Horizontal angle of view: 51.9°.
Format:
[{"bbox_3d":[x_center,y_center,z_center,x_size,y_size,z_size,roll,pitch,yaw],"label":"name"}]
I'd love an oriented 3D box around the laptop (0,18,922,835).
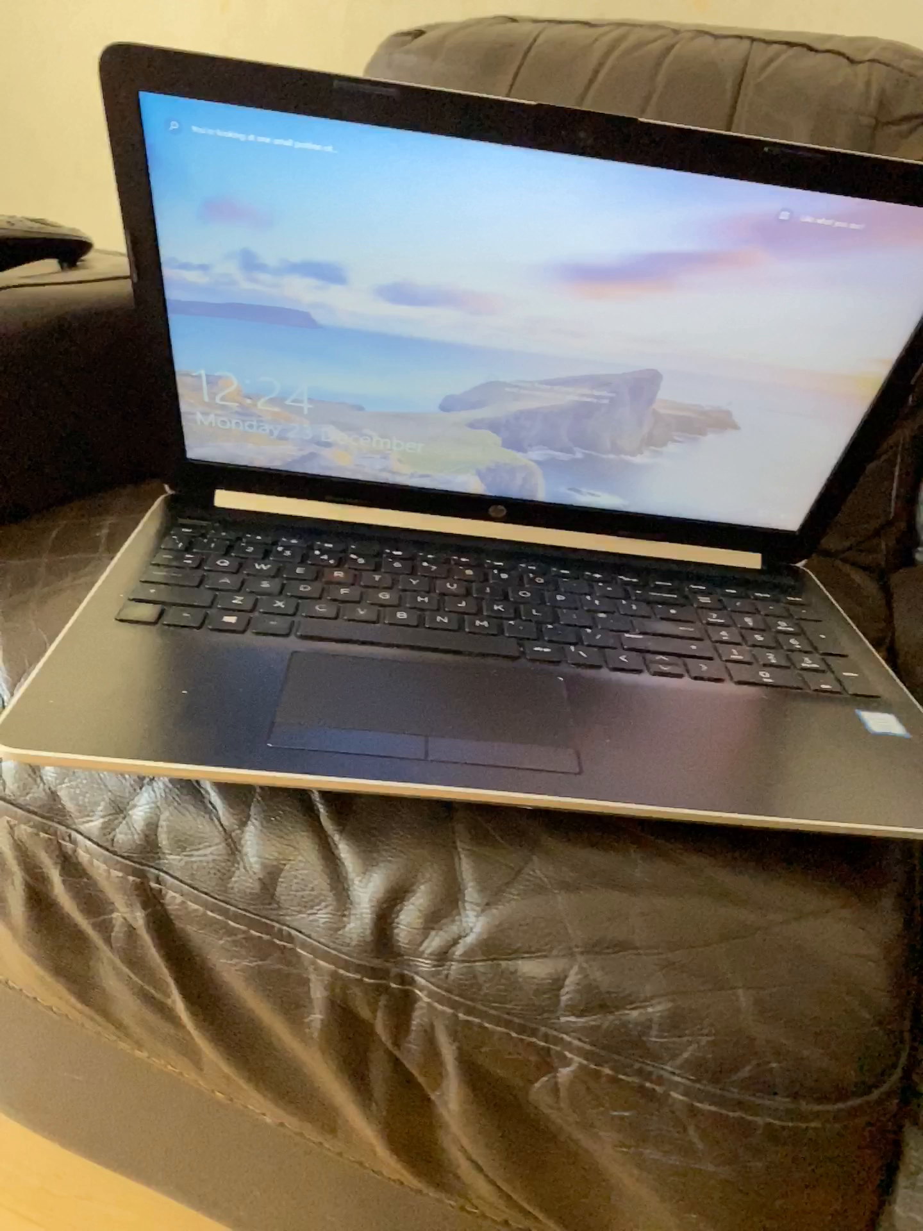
[{"bbox_3d":[0.027,-0.088,0.400,0.371,0.211,0.238,5,26,-4],"label":"laptop"}]
